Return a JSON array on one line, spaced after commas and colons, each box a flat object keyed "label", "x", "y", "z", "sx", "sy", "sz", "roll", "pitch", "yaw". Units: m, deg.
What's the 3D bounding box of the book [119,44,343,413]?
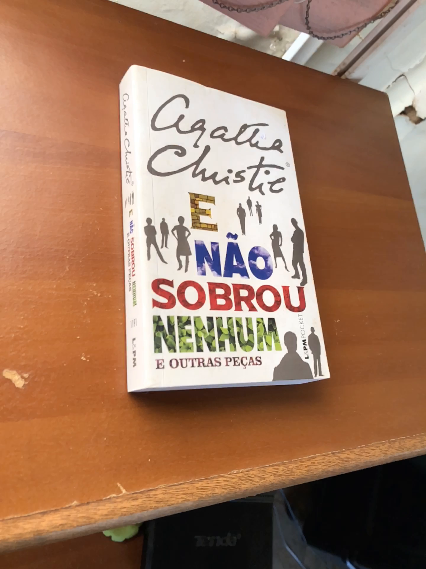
[{"label": "book", "x": 0.008, "y": -0.030, "z": 0.258, "sx": 0.110, "sy": 0.024, "sz": 0.186, "roll": 5, "pitch": 72, "yaw": -28}]
